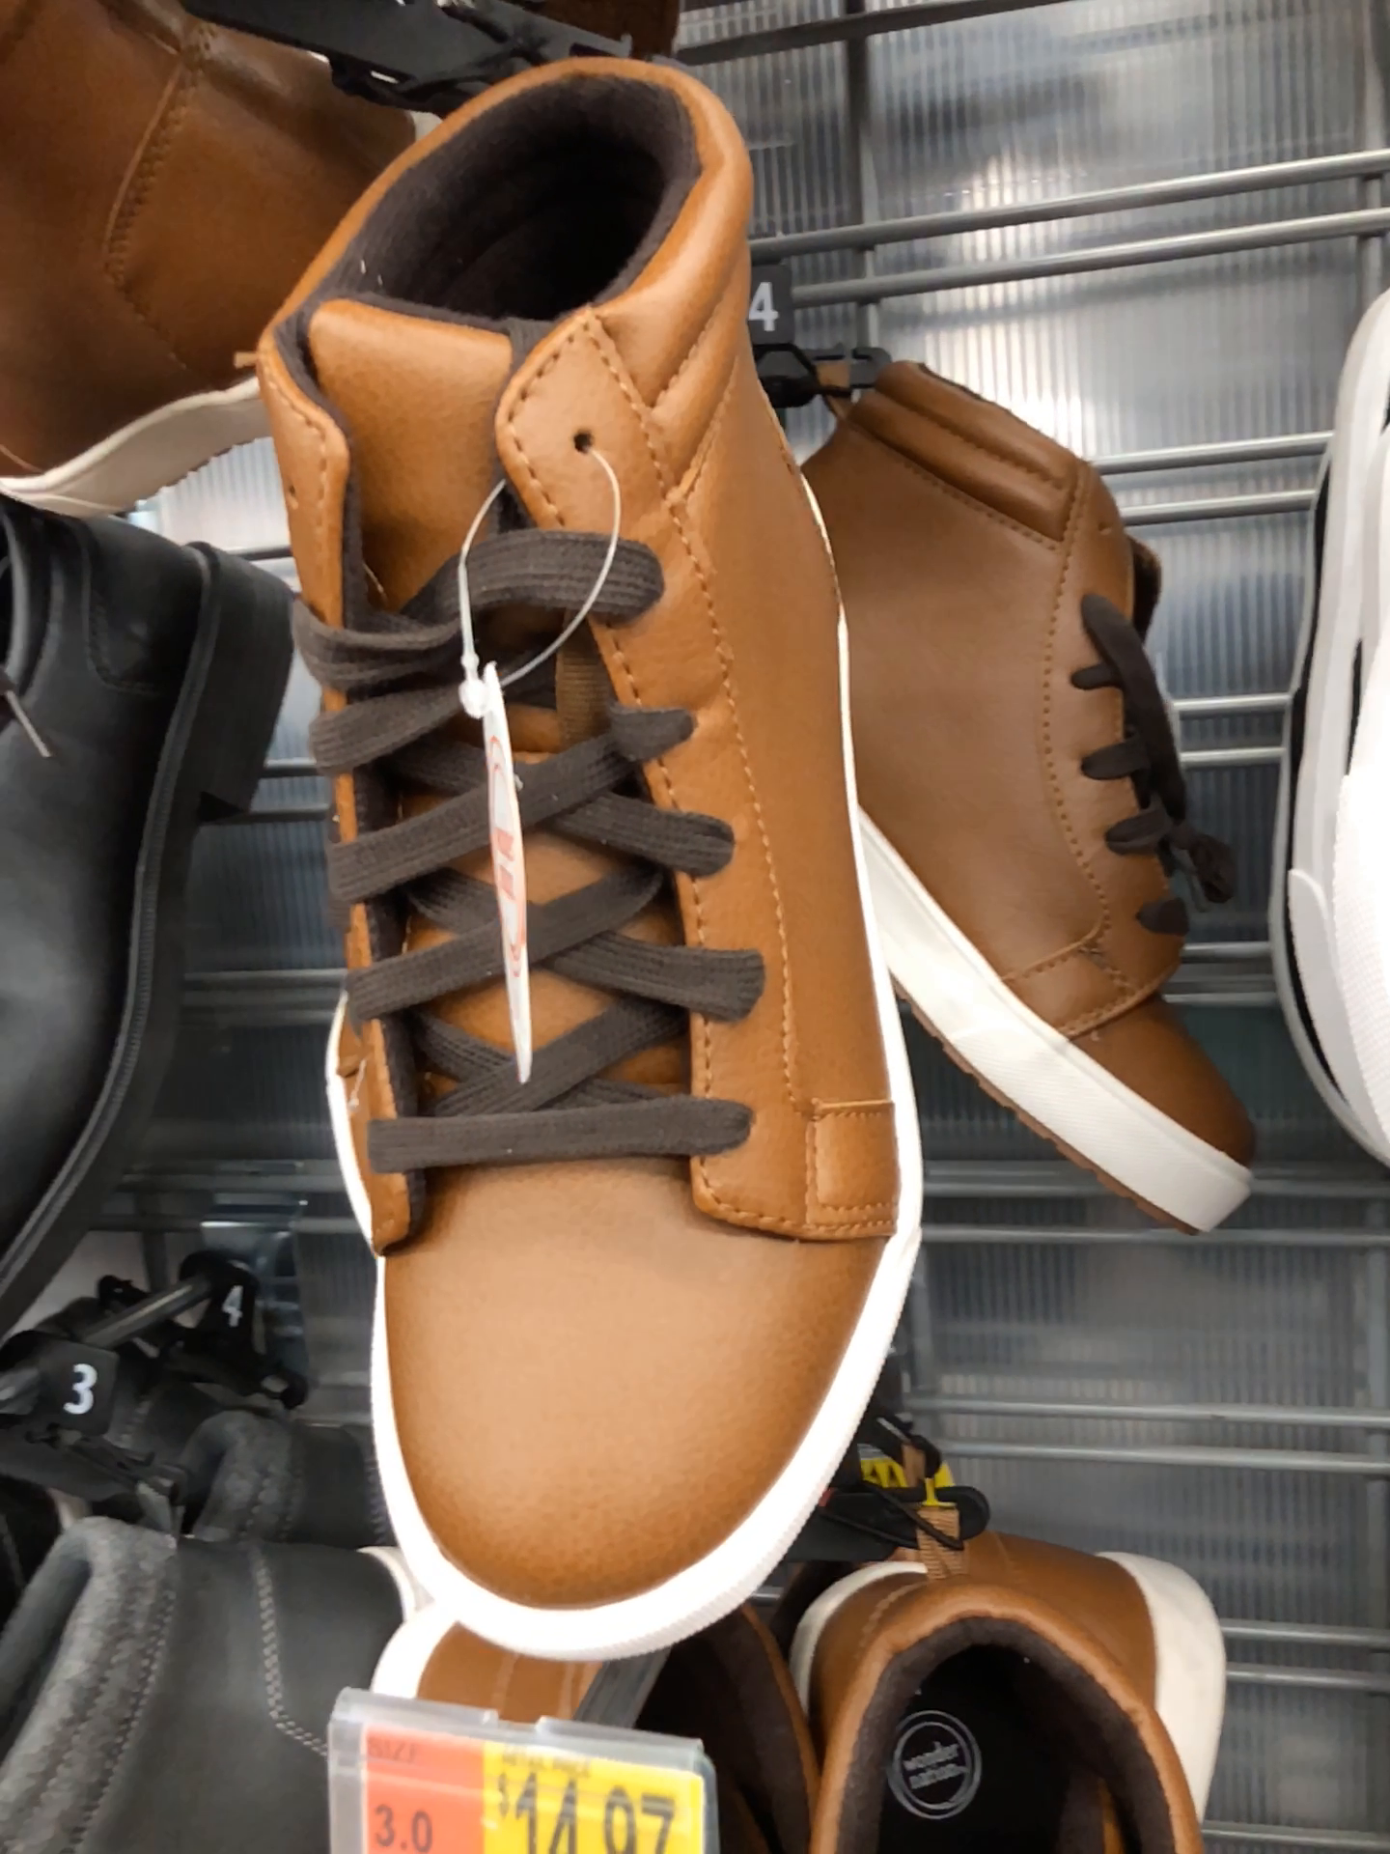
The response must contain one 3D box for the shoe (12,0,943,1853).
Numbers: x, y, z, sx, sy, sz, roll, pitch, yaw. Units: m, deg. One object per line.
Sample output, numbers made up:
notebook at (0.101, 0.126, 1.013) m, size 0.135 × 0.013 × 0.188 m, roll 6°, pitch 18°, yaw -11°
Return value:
shoe at (-0.017, -0.006, 0.235) m, size 0.096 × 0.227 × 0.110 m, roll -3°, pitch -13°, yaw 9°
